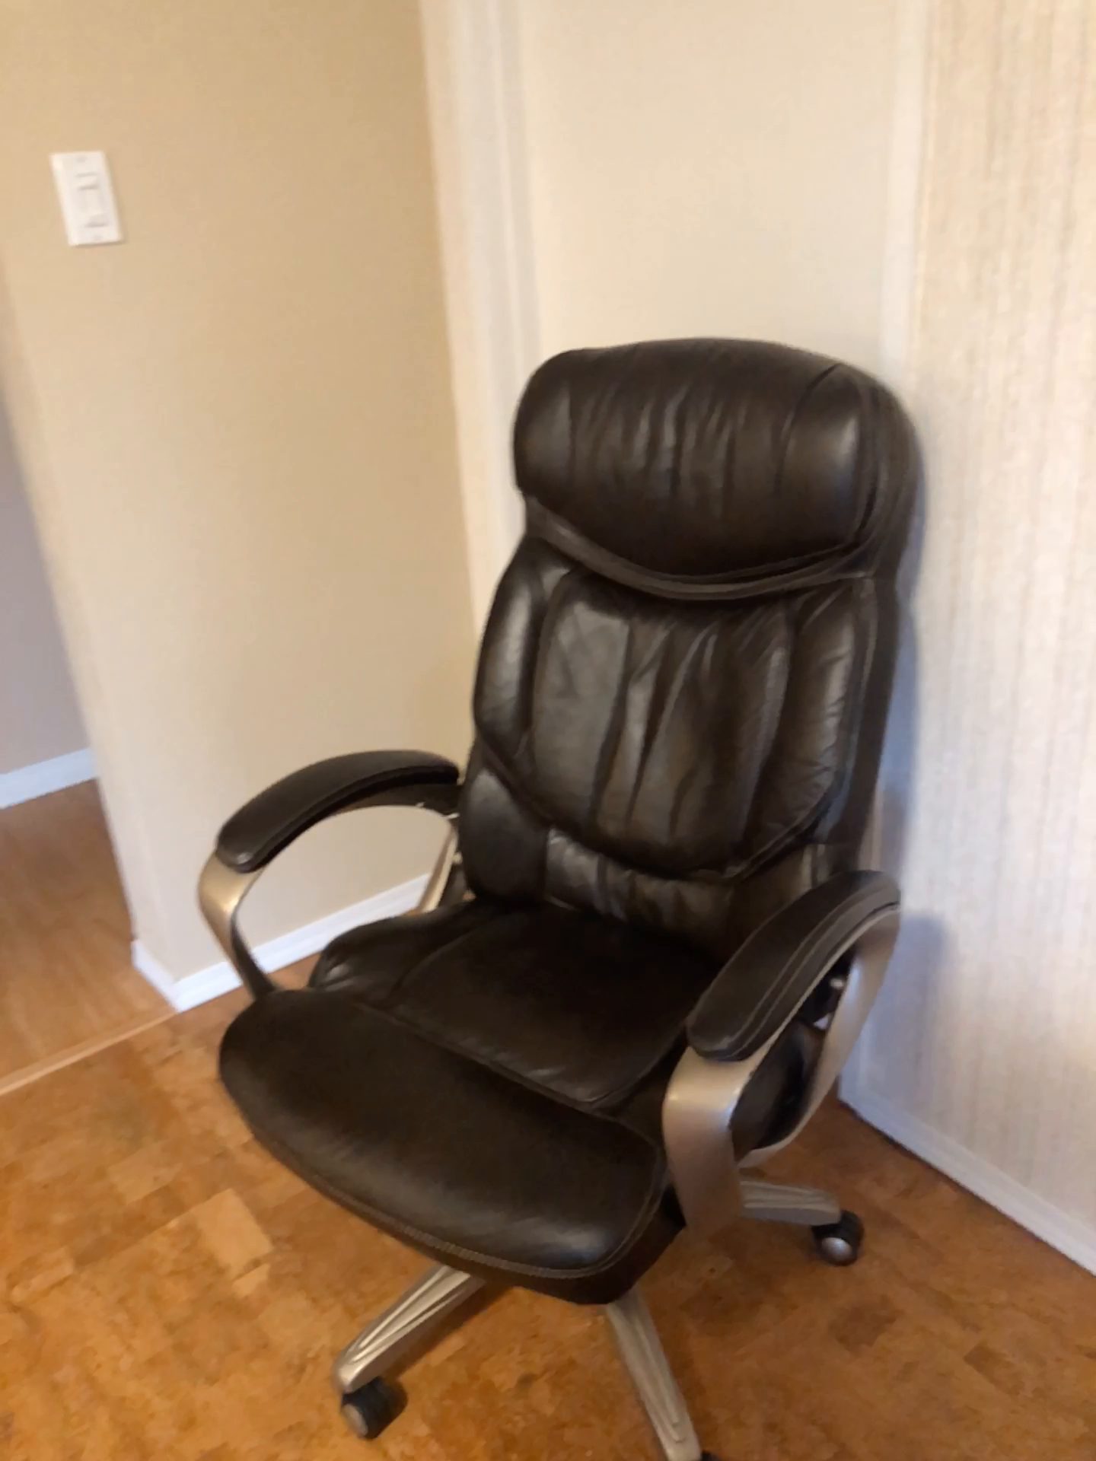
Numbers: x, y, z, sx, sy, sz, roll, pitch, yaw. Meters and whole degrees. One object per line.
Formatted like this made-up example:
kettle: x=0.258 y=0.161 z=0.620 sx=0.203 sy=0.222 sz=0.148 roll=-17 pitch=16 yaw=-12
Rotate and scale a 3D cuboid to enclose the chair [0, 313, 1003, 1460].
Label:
chair: x=-0.006 y=0.168 z=1.286 sx=0.691 sy=1.086 sz=0.651 roll=12 pitch=29 yaw=31
